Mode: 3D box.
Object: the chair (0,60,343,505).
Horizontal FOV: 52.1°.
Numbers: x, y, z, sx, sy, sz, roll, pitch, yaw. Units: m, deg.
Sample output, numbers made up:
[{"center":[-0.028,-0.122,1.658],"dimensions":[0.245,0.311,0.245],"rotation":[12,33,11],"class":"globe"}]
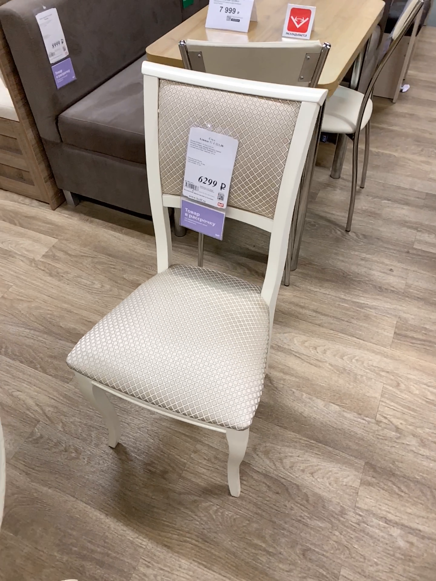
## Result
[{"center":[-0.059,0.042,1.104],"dimensions":[0.460,0.926,0.512],"rotation":[16,50,14],"class":"chair"}]
